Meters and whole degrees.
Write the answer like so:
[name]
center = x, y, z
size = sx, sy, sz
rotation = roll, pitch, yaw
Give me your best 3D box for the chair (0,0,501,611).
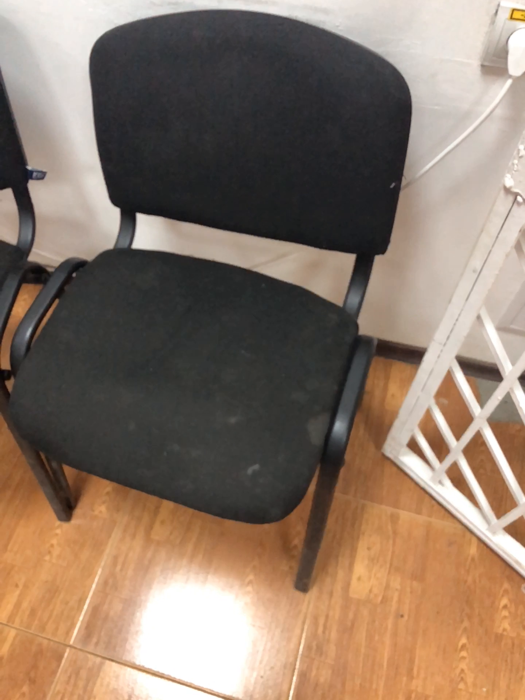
[chair]
center = -0.055, -0.042, 0.938
size = 0.570, 0.688, 0.621
rotation = 15, 61, 10
